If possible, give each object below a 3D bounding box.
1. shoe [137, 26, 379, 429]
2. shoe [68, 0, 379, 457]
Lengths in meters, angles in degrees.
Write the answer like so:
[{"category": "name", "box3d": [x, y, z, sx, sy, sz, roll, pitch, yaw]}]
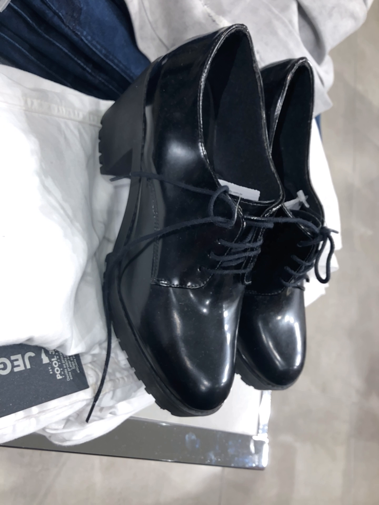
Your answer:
[{"category": "shoe", "box3d": [0.072, -0.012, 0.347, 0.101, 0.149, 0.260, -14, 83, -36]}, {"category": "shoe", "box3d": [0.008, -0.016, 0.306, 0.101, 0.159, 0.260, -5, 78, -35]}]
